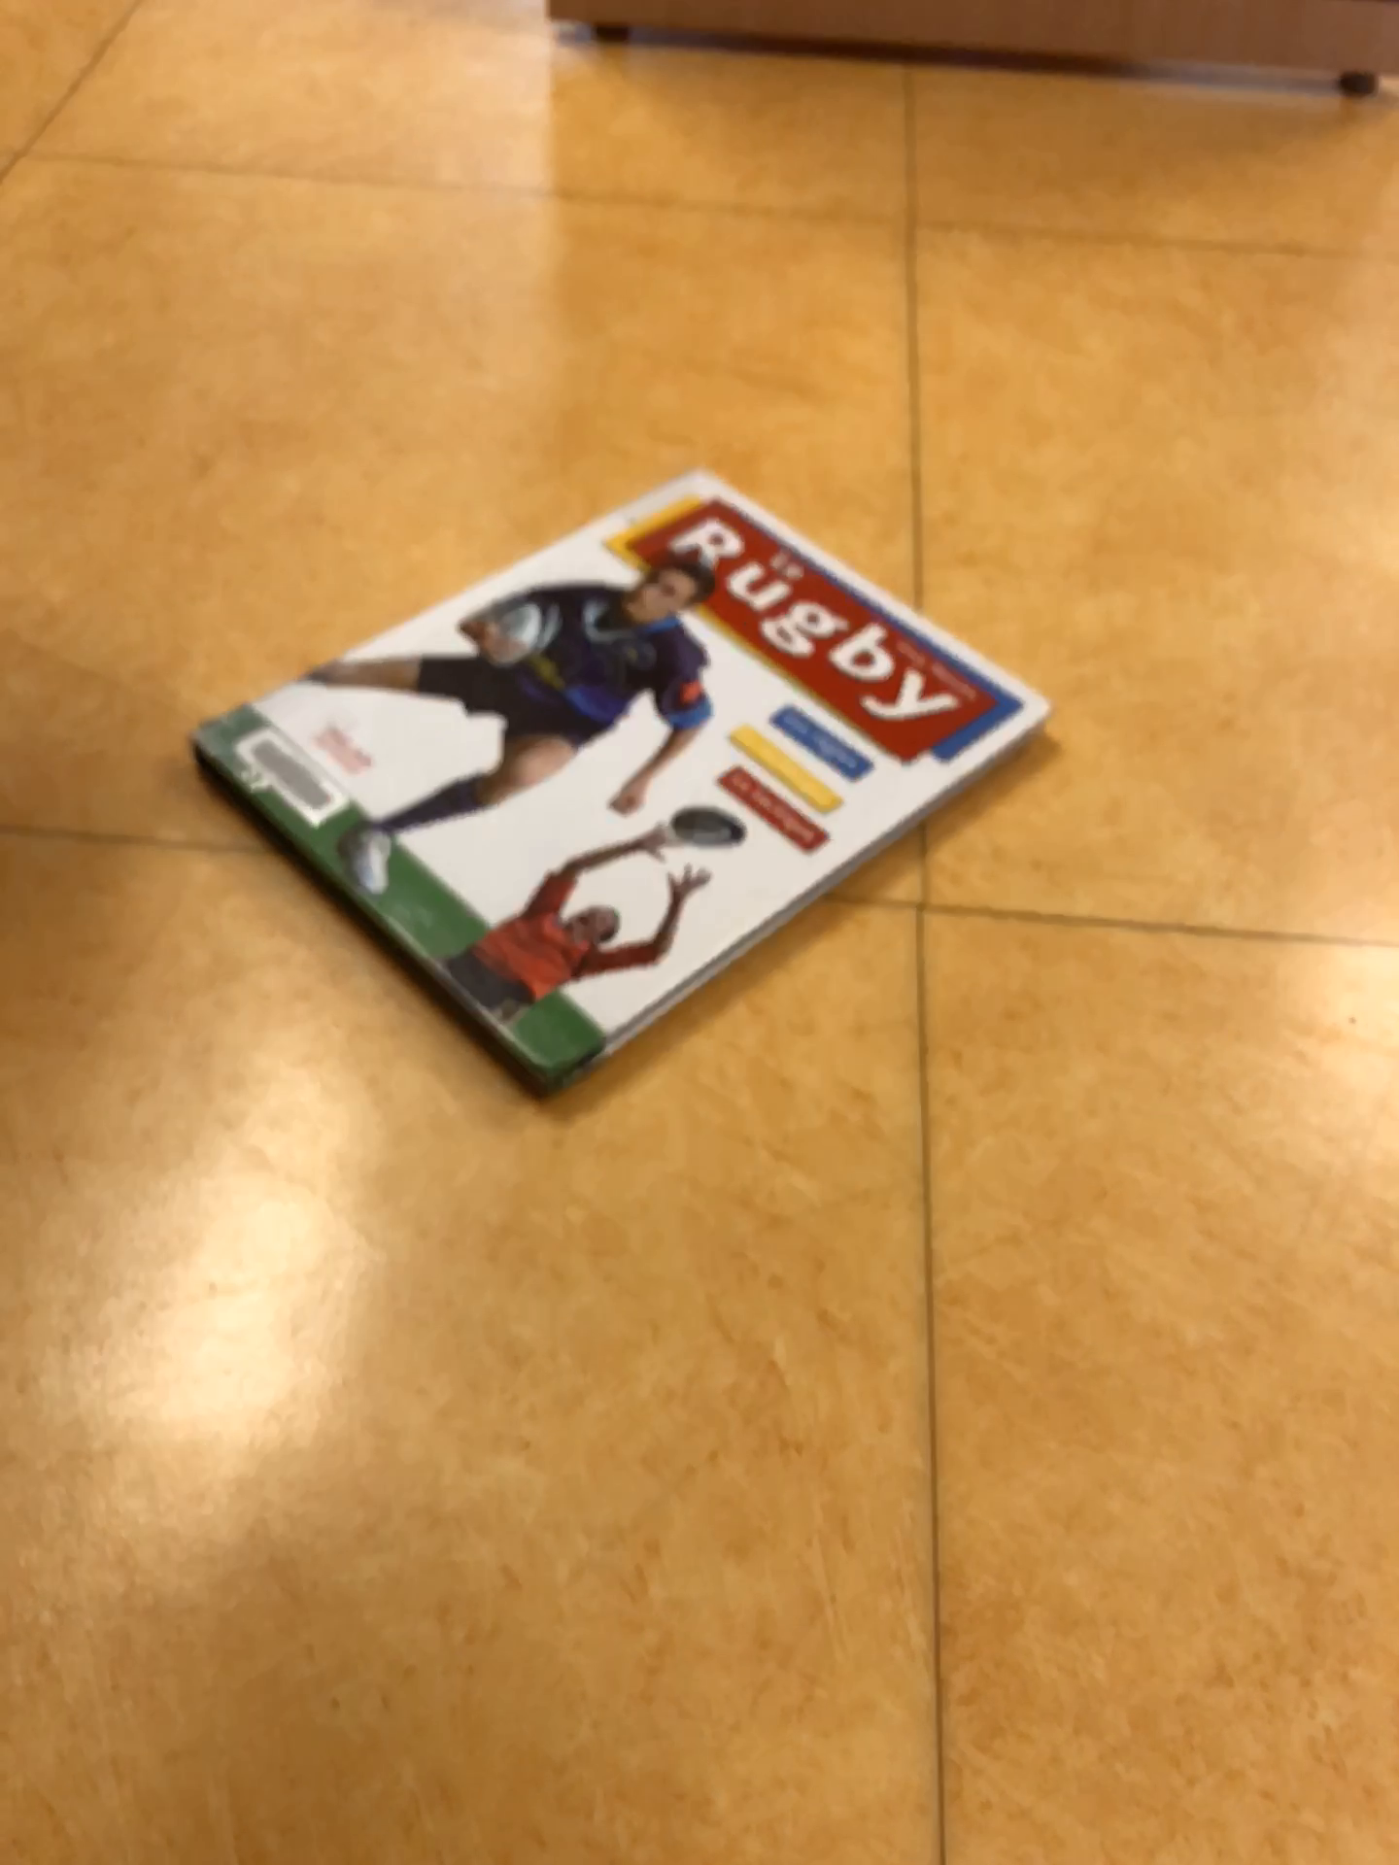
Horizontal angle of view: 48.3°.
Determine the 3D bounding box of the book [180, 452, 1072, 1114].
[{"bbox_3d":[-0.023,-0.077,0.586,0.261,0.024,0.203,-35,61,-28],"label":"book"}]
